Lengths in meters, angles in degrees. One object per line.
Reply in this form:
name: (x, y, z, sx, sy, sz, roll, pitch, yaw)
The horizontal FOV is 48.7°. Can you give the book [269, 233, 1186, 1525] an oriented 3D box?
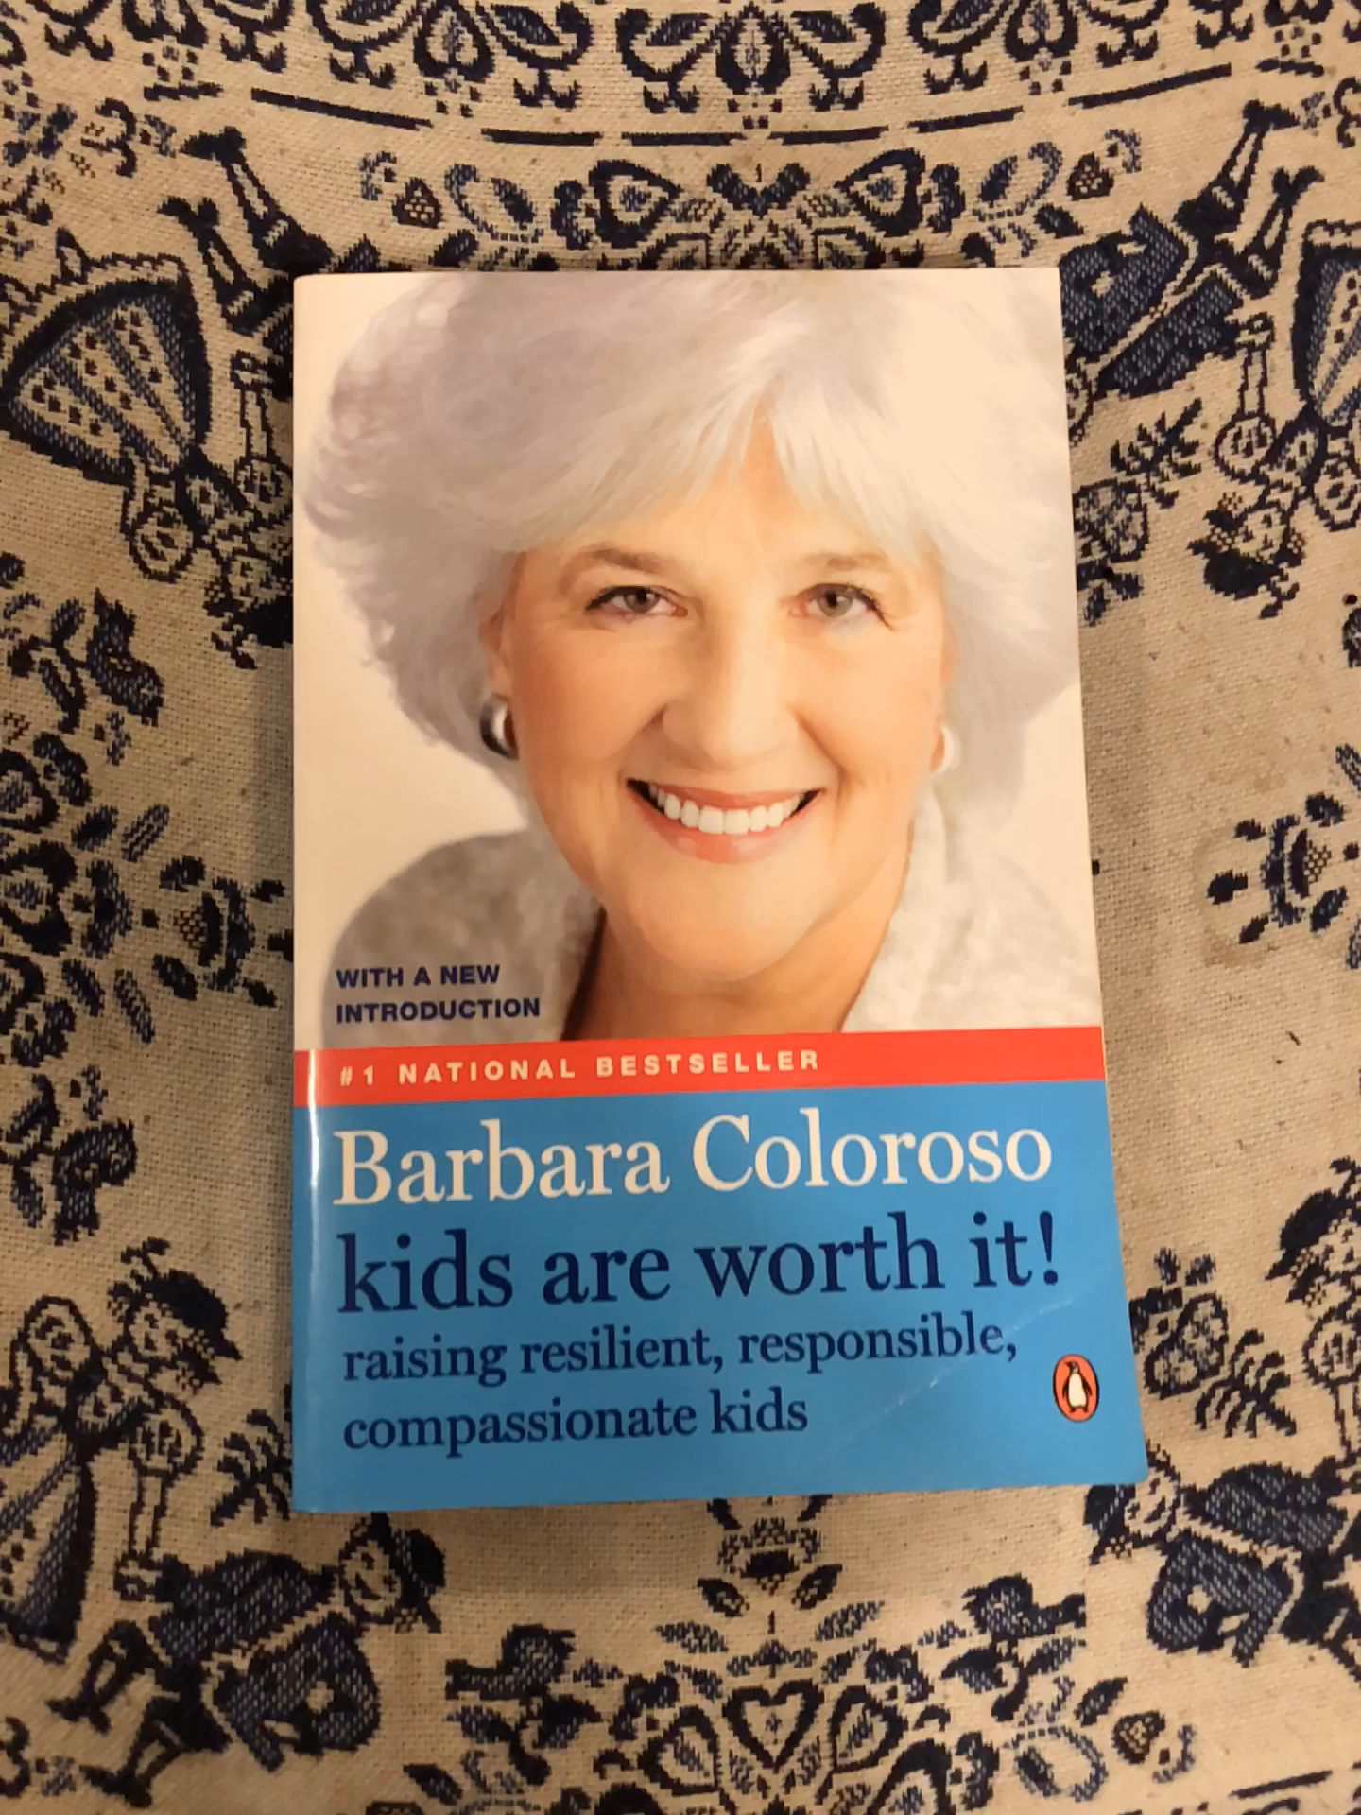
book: (0.006, -0.008, 0.283, 0.150, 0.050, 0.220, 0, 83, -3)
